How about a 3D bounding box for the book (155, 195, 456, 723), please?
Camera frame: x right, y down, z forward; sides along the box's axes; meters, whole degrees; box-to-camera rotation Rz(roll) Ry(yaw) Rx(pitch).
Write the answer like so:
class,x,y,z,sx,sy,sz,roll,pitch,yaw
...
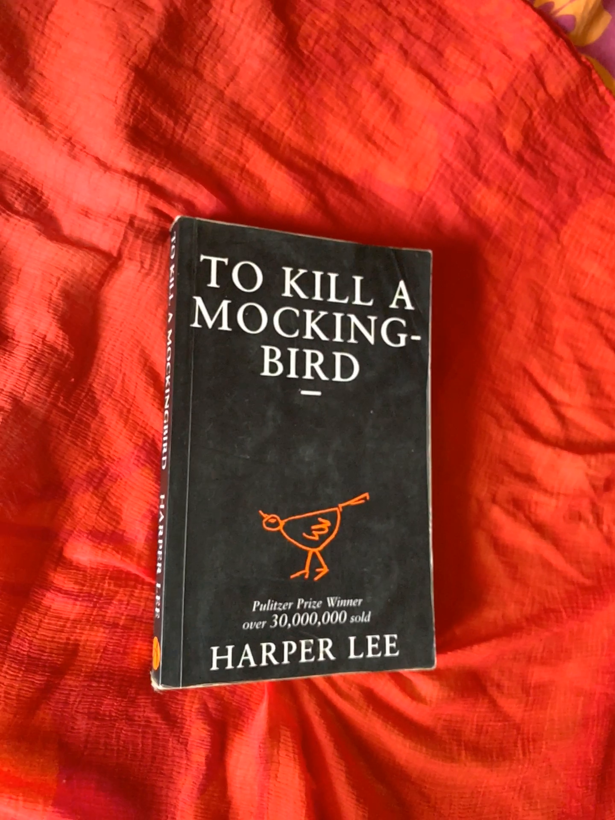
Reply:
class,x,y,z,sx,sy,sz,roll,pitch,yaw
book,0.001,0.017,0.260,0.110,0.040,0.180,3,83,-22
